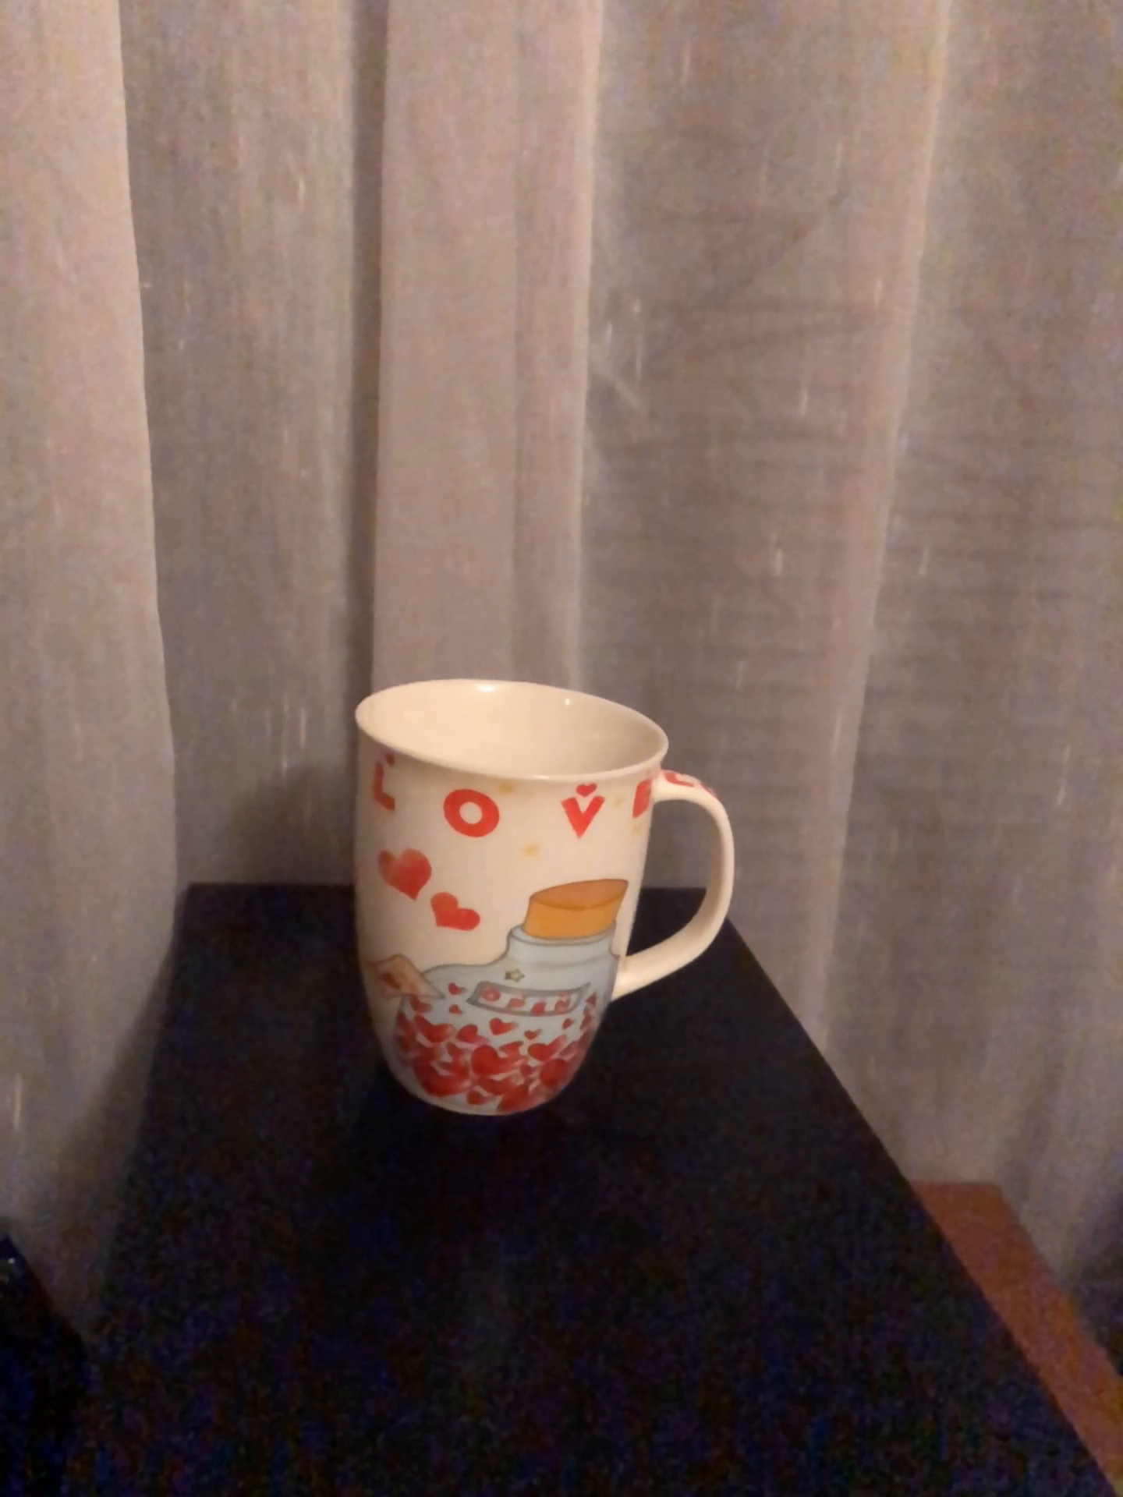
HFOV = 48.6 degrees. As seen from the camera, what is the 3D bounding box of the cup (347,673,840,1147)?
[{"bbox_3d":[0.001,0.039,0.336,0.111,0.098,0.078,1,18,-12],"label":"cup"}]
